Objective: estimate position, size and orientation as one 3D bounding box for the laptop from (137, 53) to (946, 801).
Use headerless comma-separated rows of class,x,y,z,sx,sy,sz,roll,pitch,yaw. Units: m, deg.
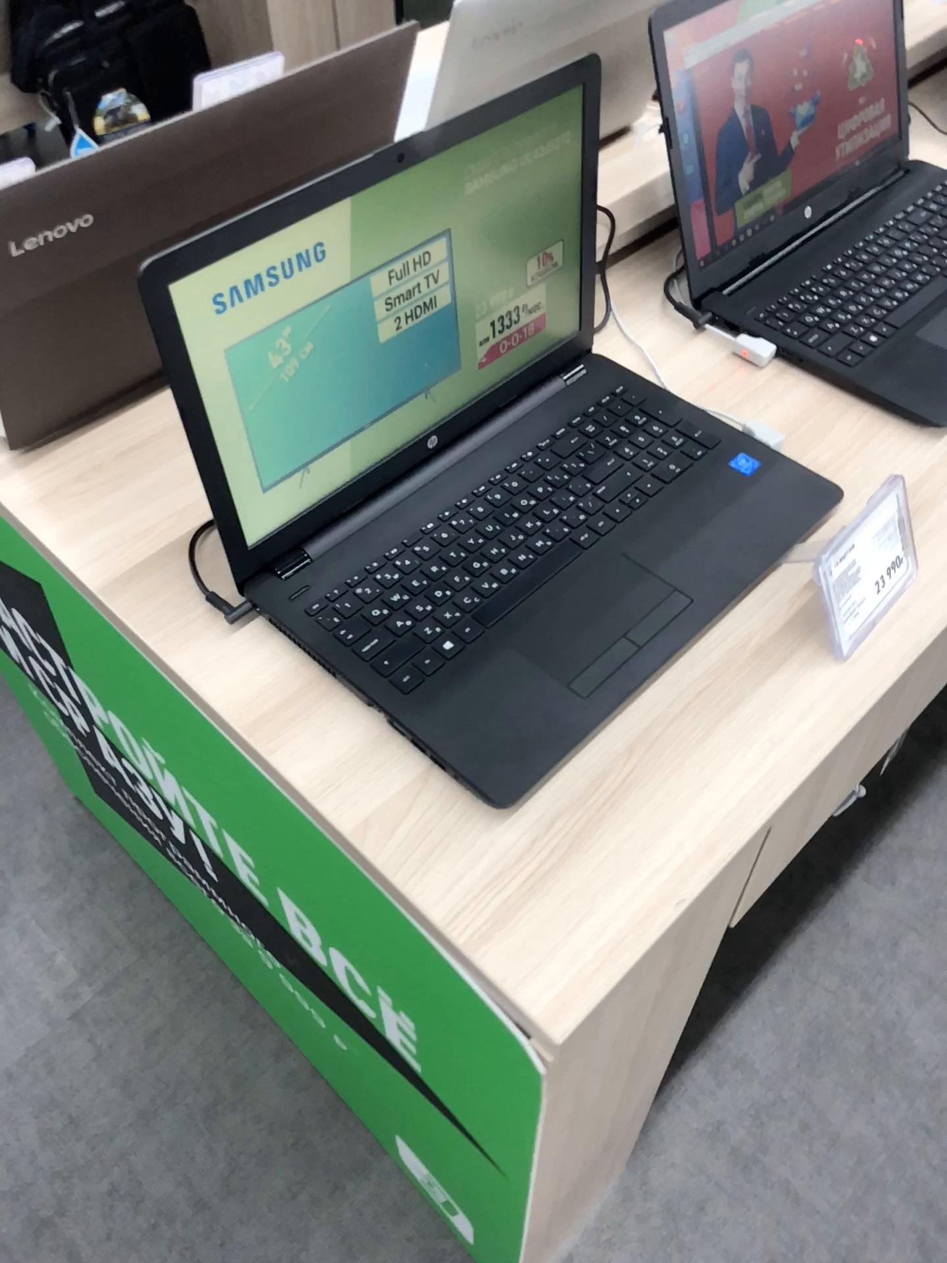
laptop,0.047,-0.150,0.655,0.273,0.222,0.363,37,59,25
